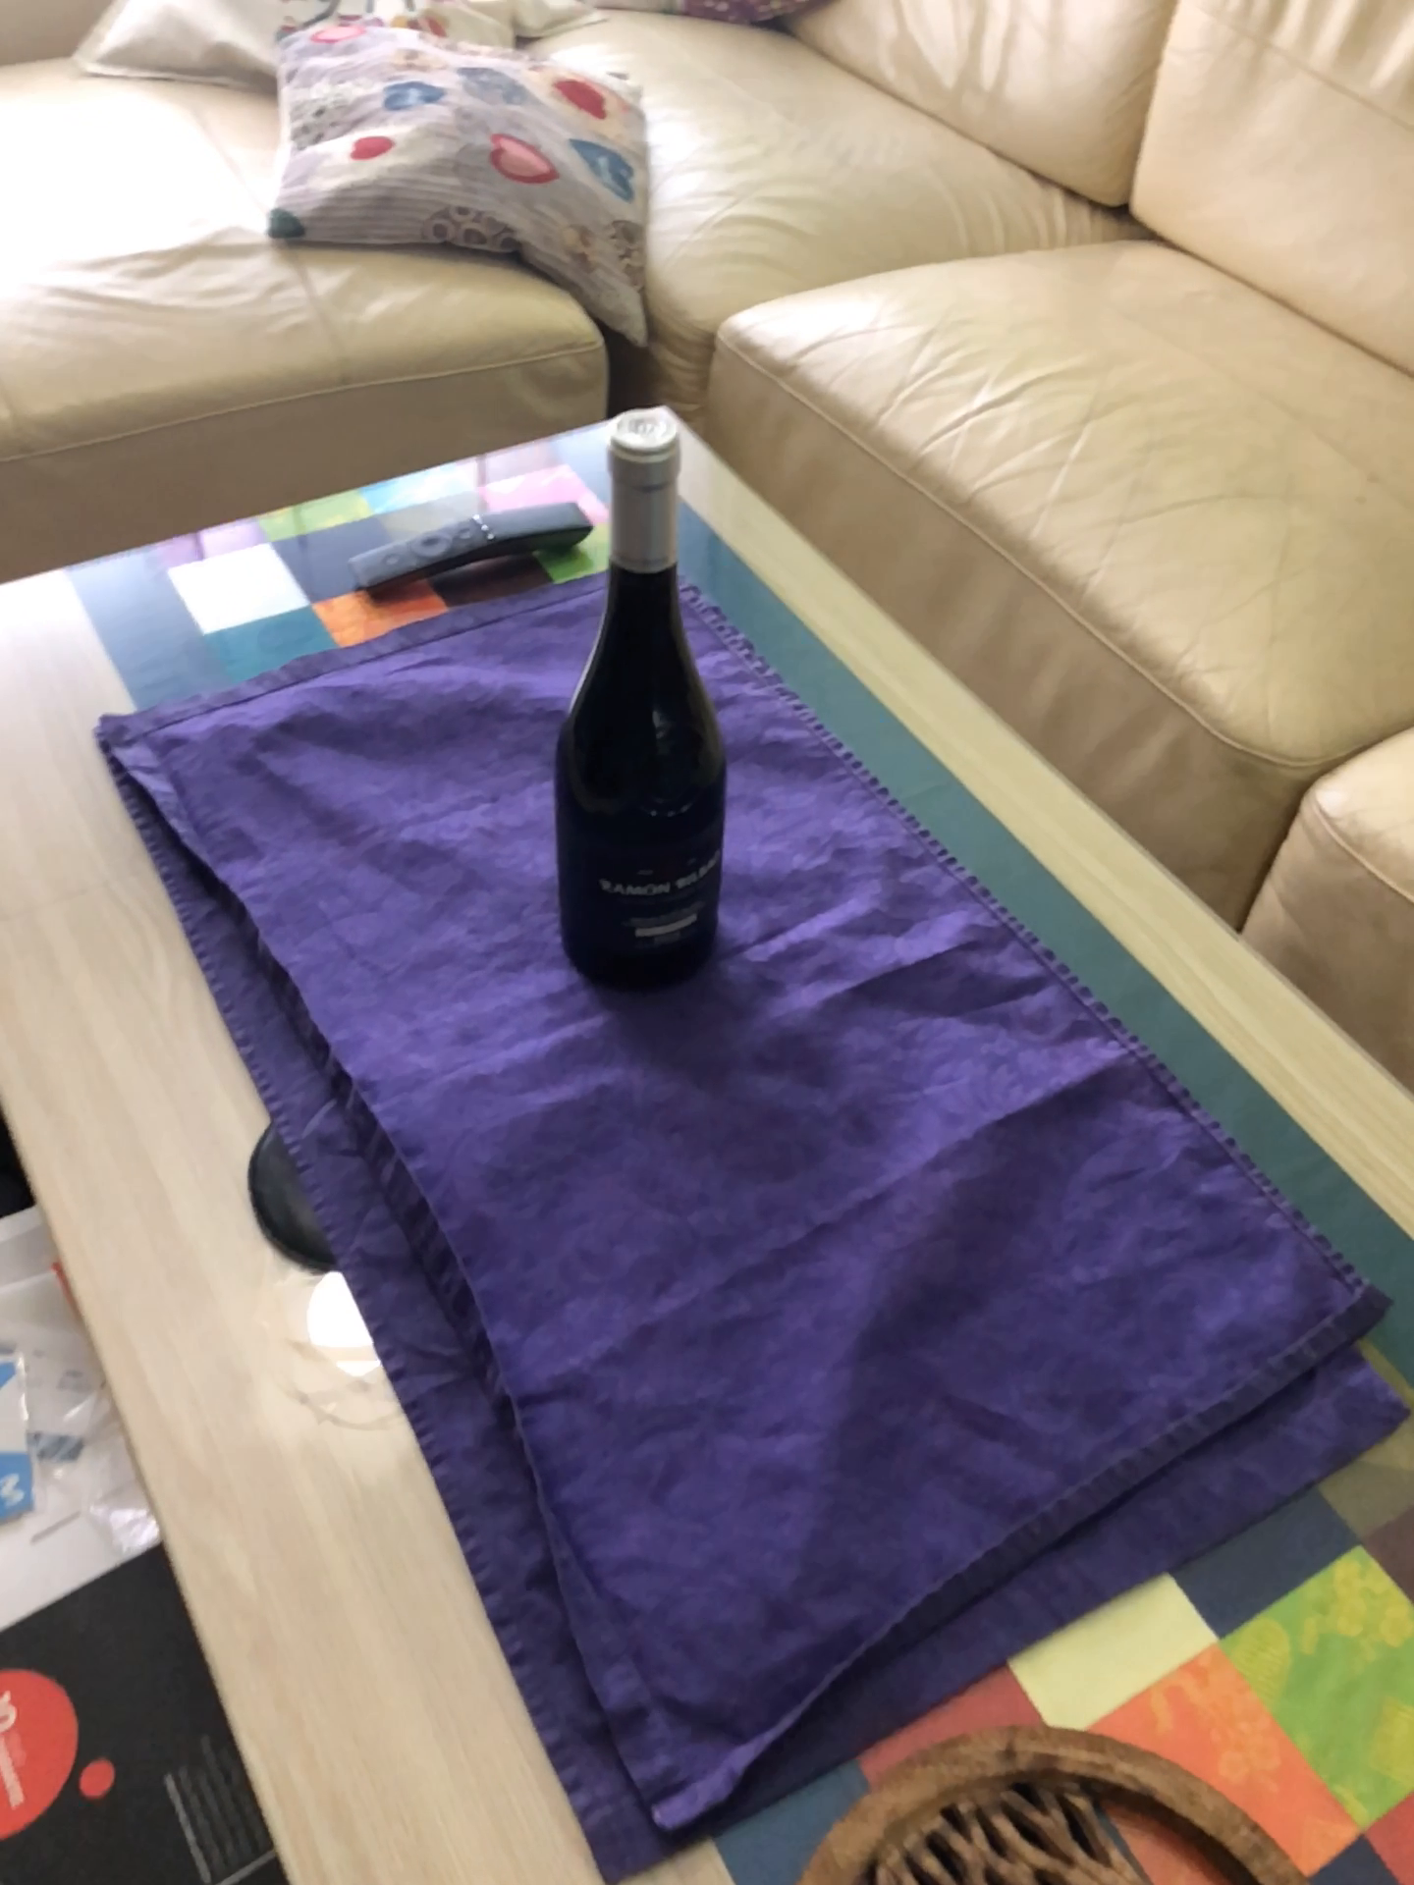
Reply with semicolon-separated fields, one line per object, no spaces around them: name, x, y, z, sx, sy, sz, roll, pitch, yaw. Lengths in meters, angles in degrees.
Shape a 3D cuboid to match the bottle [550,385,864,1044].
bottle;-0.009;-0.084;0.659;0.100;0.269;0.100;2;48;-2
